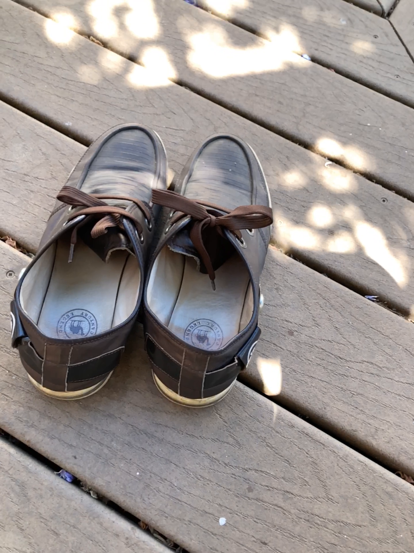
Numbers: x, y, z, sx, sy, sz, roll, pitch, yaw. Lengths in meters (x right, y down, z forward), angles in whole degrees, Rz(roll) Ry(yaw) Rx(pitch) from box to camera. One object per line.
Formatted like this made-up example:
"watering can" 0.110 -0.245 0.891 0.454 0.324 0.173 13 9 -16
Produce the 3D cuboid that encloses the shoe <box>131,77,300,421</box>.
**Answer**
"shoe" 0.013 -0.030 0.423 0.107 0.105 0.290 9 64 -3

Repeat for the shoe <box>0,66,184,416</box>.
"shoe" -0.101 -0.036 0.420 0.107 0.115 0.288 10 64 -3
